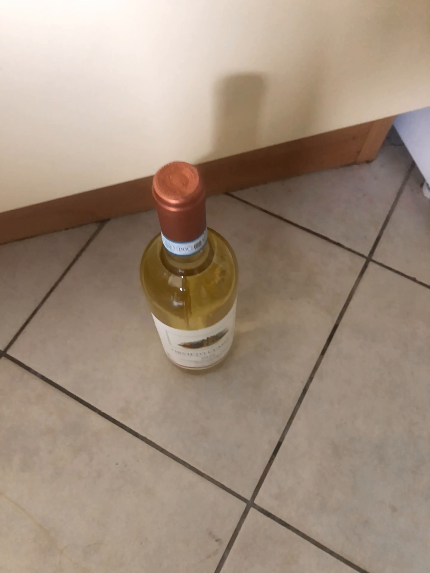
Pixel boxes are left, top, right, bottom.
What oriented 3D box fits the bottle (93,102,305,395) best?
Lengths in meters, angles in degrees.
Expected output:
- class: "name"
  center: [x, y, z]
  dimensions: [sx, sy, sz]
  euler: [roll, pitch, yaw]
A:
- class: "bottle"
  center: [-0.012, 0.002, 0.387]
  dimensions: [0.090, 0.289, 0.090]
  euler: [0, 66, 0]
